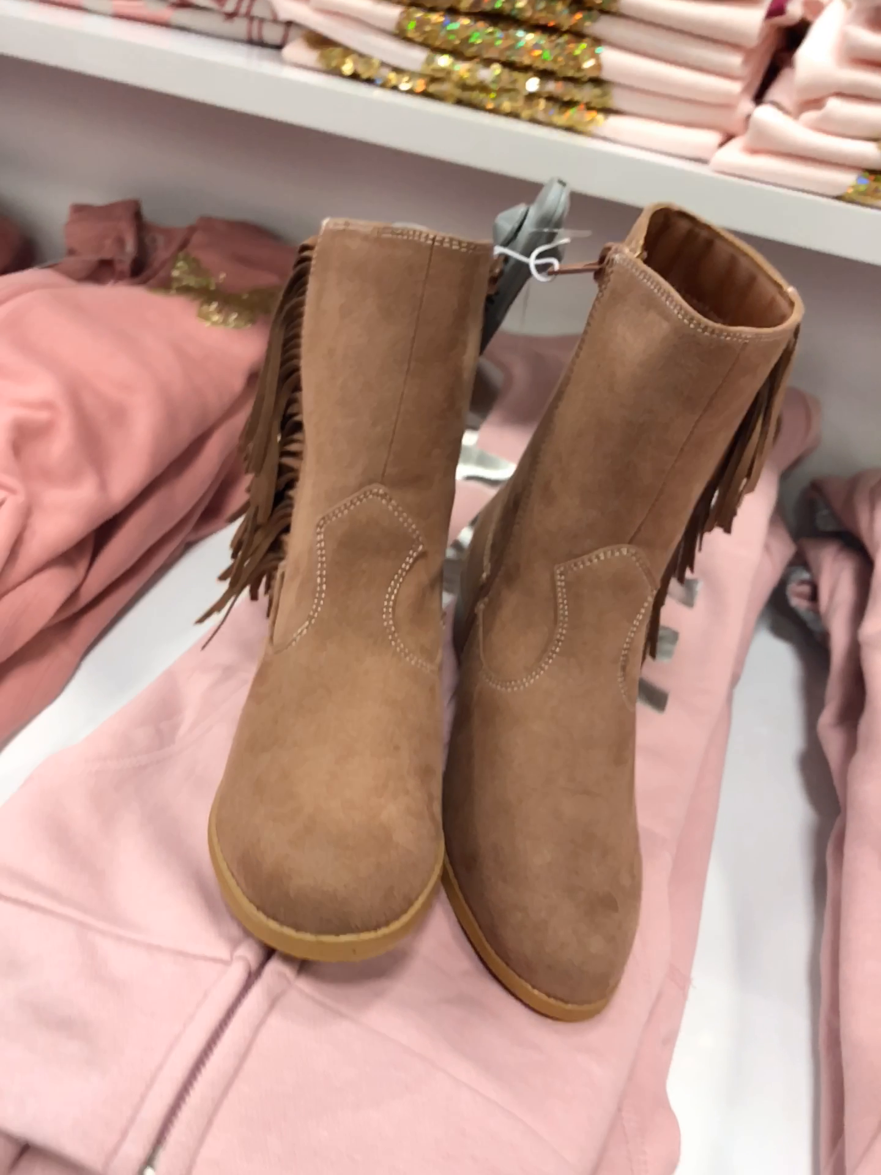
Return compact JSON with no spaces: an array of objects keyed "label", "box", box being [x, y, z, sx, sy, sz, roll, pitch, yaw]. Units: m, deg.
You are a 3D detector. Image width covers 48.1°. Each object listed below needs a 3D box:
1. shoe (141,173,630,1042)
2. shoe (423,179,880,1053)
[{"label":"shoe","box":[-0.027,-0.009,0.320,0.092,0.199,0.201,6,29,-6]},{"label":"shoe","box":[0.054,-0.001,0.332,0.092,0.199,0.211,6,35,-6]}]
